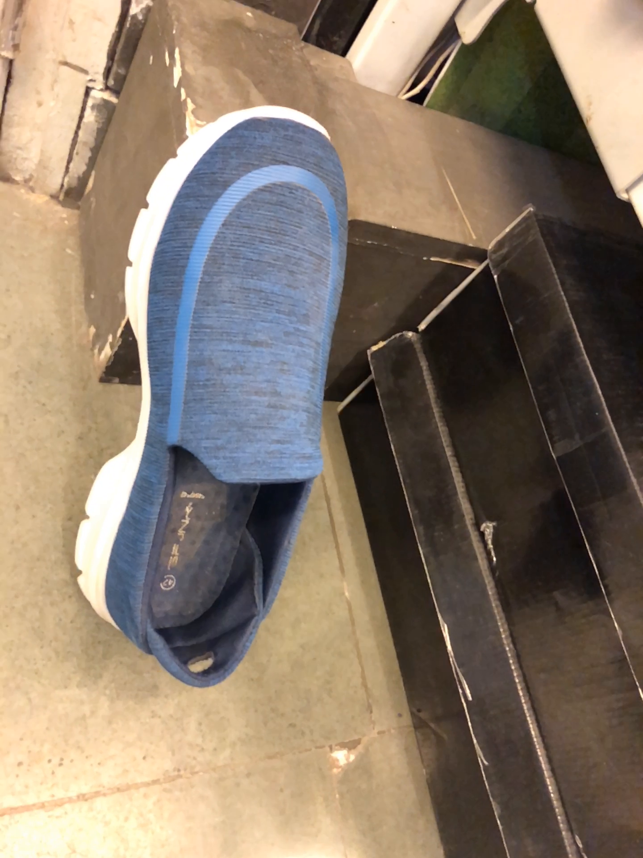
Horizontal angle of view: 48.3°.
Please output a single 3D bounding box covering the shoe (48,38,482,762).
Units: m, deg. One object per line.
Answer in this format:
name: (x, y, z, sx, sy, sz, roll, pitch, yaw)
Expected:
shoe: (-0.037, -0.007, 0.326, 0.111, 0.272, 0.095, 4, 17, -34)
